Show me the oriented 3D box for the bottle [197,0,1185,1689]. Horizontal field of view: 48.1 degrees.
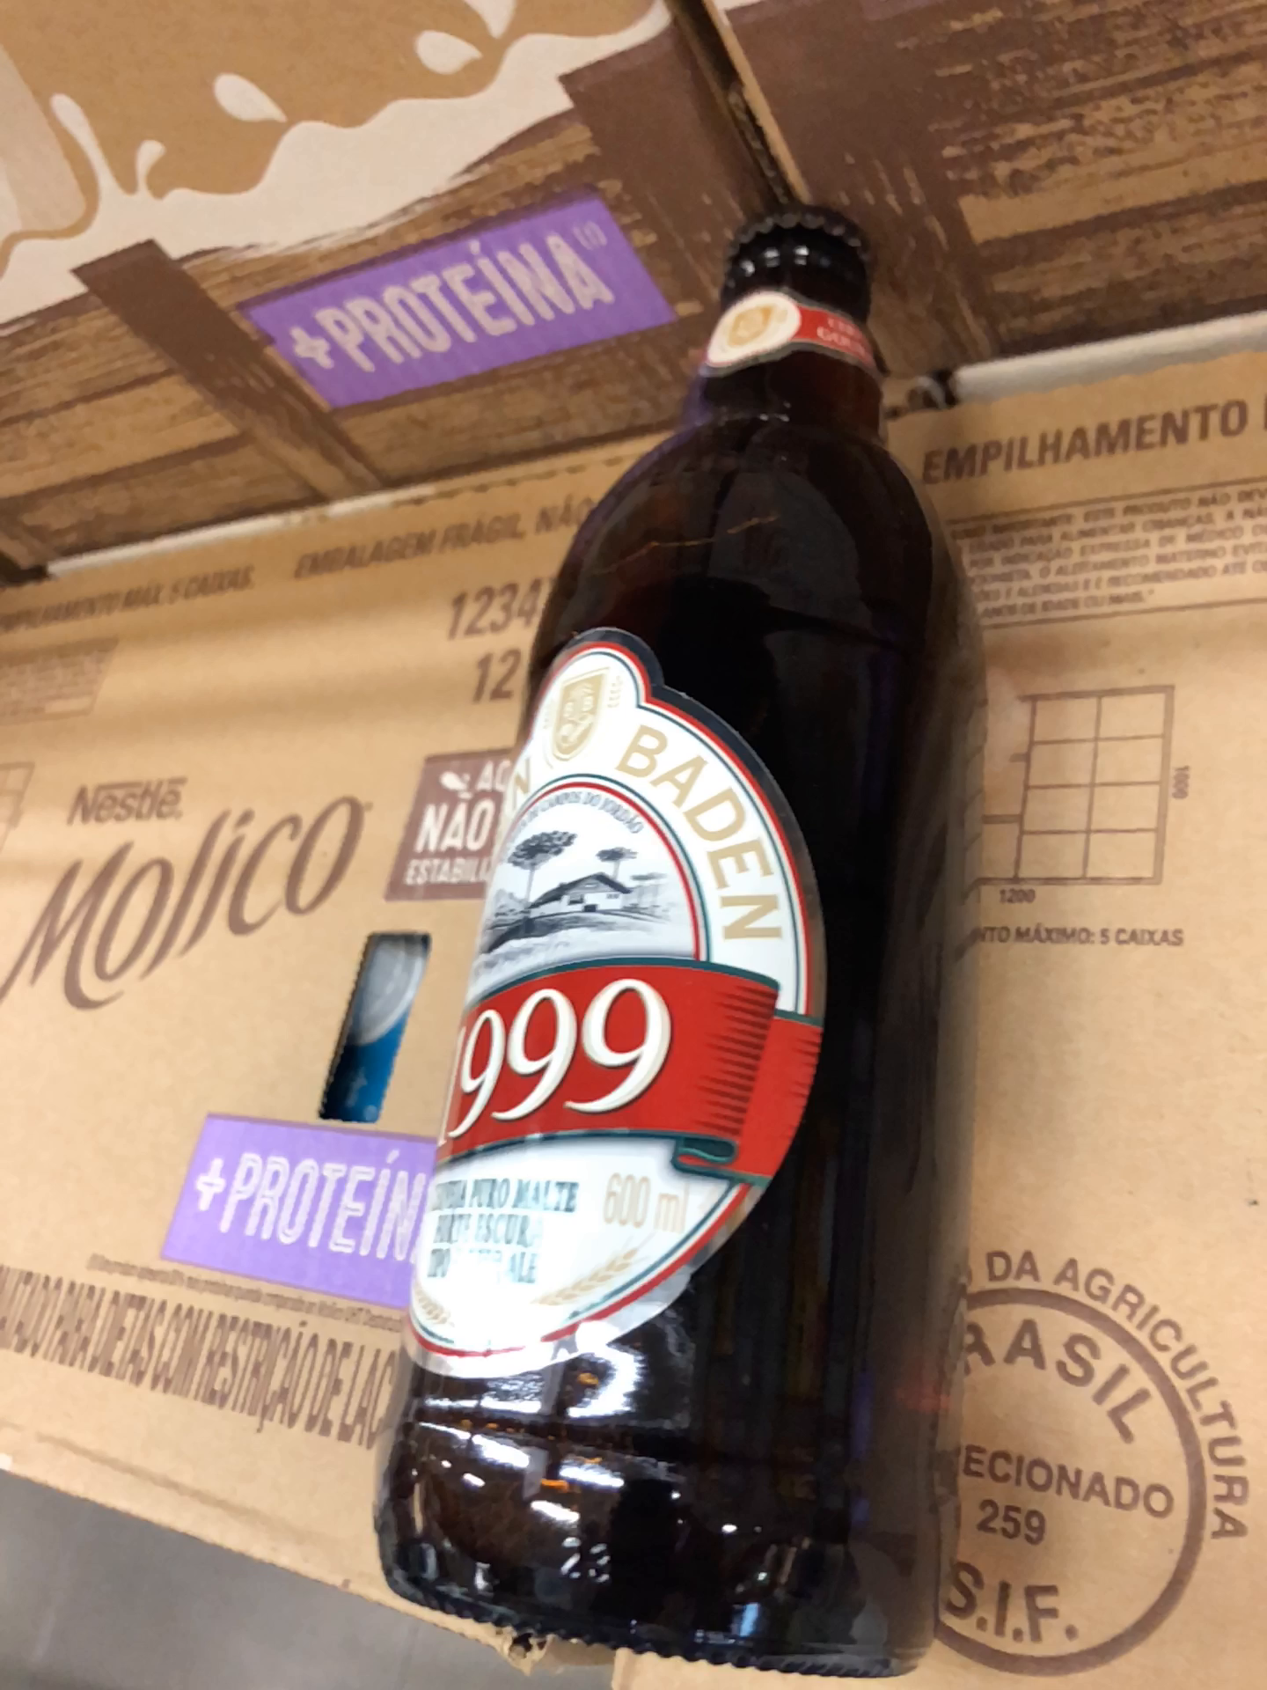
[{"bbox_3d":[0.030,-0.019,0.241,0.090,0.099,0.281,-8,60,30],"label":"bottle"}]
